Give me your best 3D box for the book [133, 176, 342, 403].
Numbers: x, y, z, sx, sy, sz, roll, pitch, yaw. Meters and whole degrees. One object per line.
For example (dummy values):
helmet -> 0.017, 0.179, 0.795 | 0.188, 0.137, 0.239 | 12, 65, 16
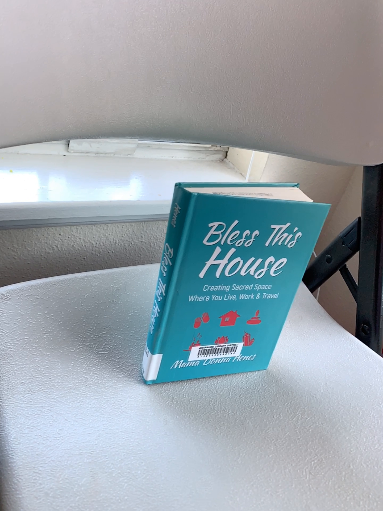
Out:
book -> 0.035, 0.028, 0.348 | 0.142, 0.181, 0.051 | -5, 30, -30
